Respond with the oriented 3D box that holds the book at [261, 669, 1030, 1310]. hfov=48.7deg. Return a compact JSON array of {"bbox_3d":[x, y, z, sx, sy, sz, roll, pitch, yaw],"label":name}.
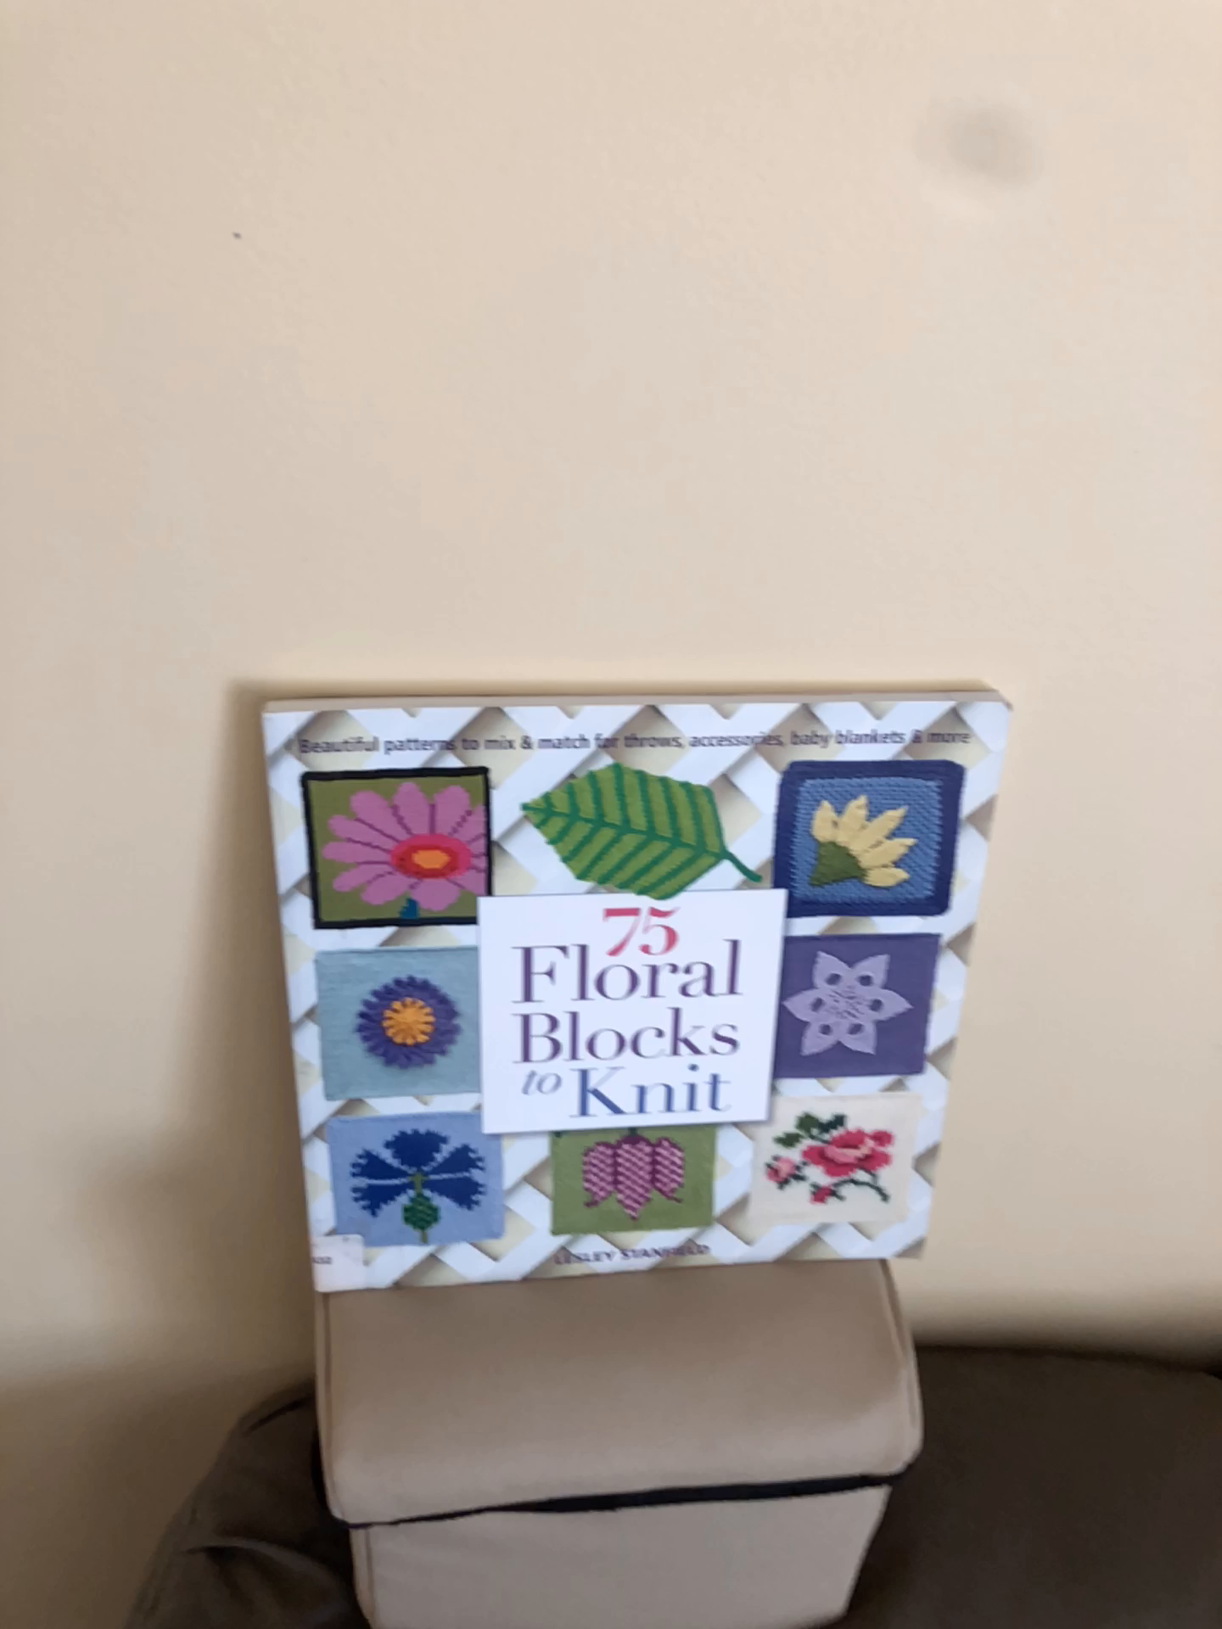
[{"bbox_3d":[0.008,0.060,0.429,0.218,0.215,0.020,-1,24,-8],"label":"book"}]
